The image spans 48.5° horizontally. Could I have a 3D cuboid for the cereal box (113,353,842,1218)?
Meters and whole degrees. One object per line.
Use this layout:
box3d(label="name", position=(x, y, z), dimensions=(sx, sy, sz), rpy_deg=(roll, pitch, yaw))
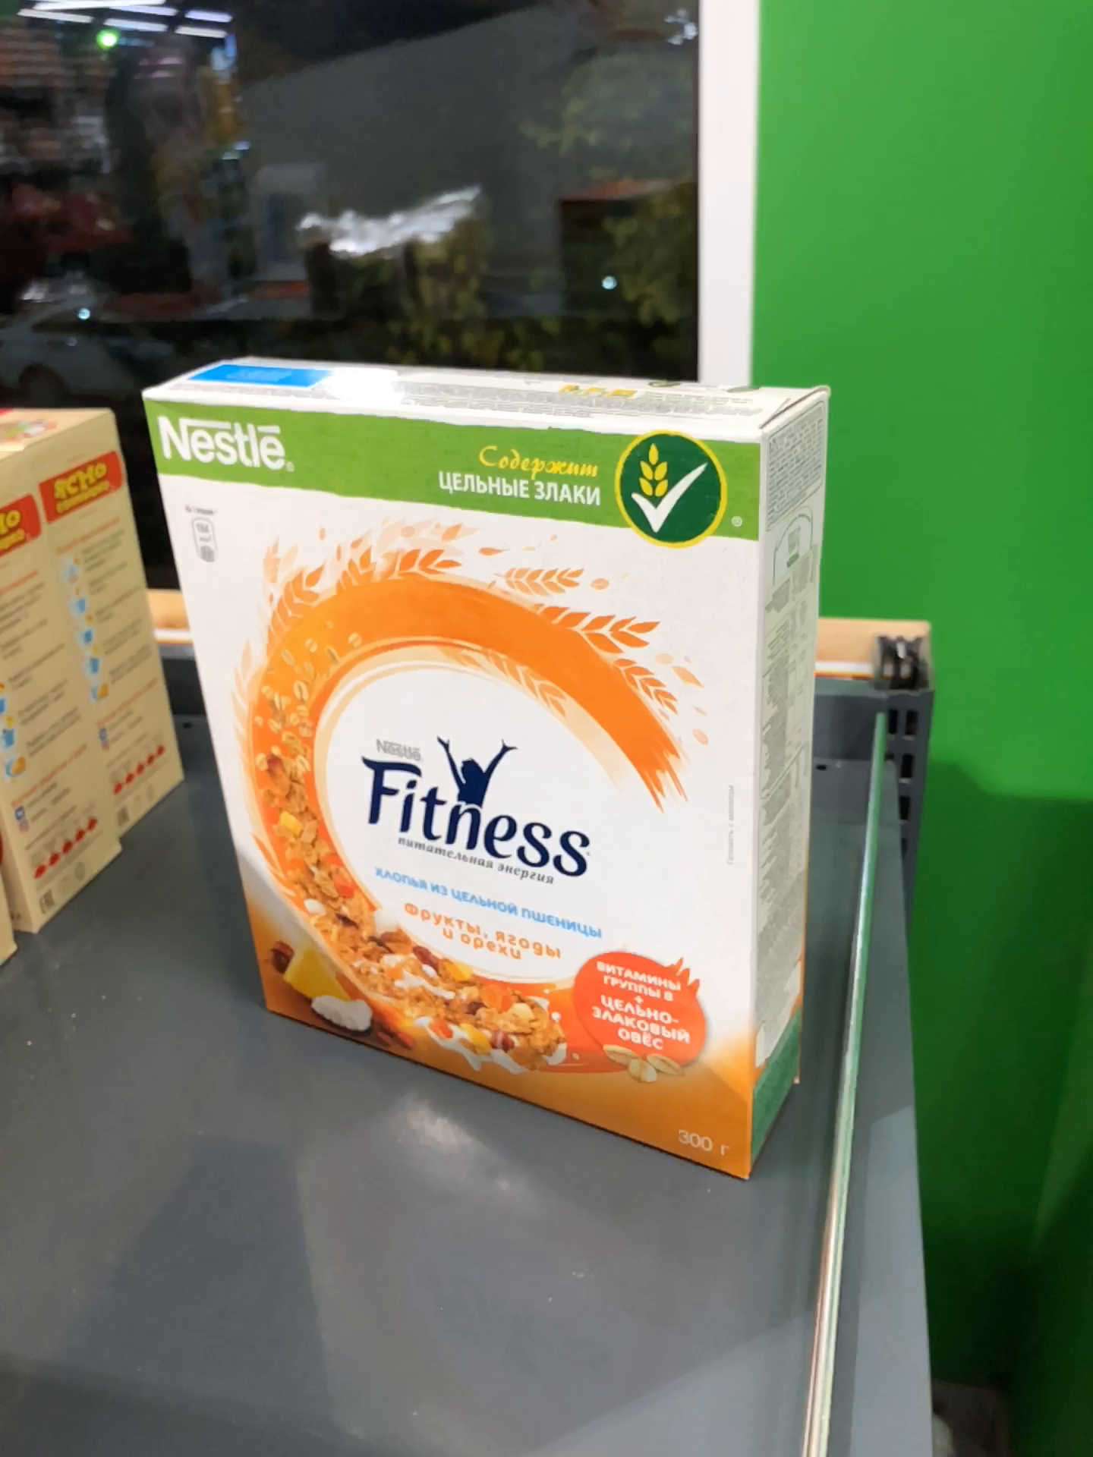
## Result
box3d(label="cereal box", position=(-0.020, 0.013, 0.388), dimensions=(0.200, 0.239, 0.060), rpy_deg=(12, 30, 27))
